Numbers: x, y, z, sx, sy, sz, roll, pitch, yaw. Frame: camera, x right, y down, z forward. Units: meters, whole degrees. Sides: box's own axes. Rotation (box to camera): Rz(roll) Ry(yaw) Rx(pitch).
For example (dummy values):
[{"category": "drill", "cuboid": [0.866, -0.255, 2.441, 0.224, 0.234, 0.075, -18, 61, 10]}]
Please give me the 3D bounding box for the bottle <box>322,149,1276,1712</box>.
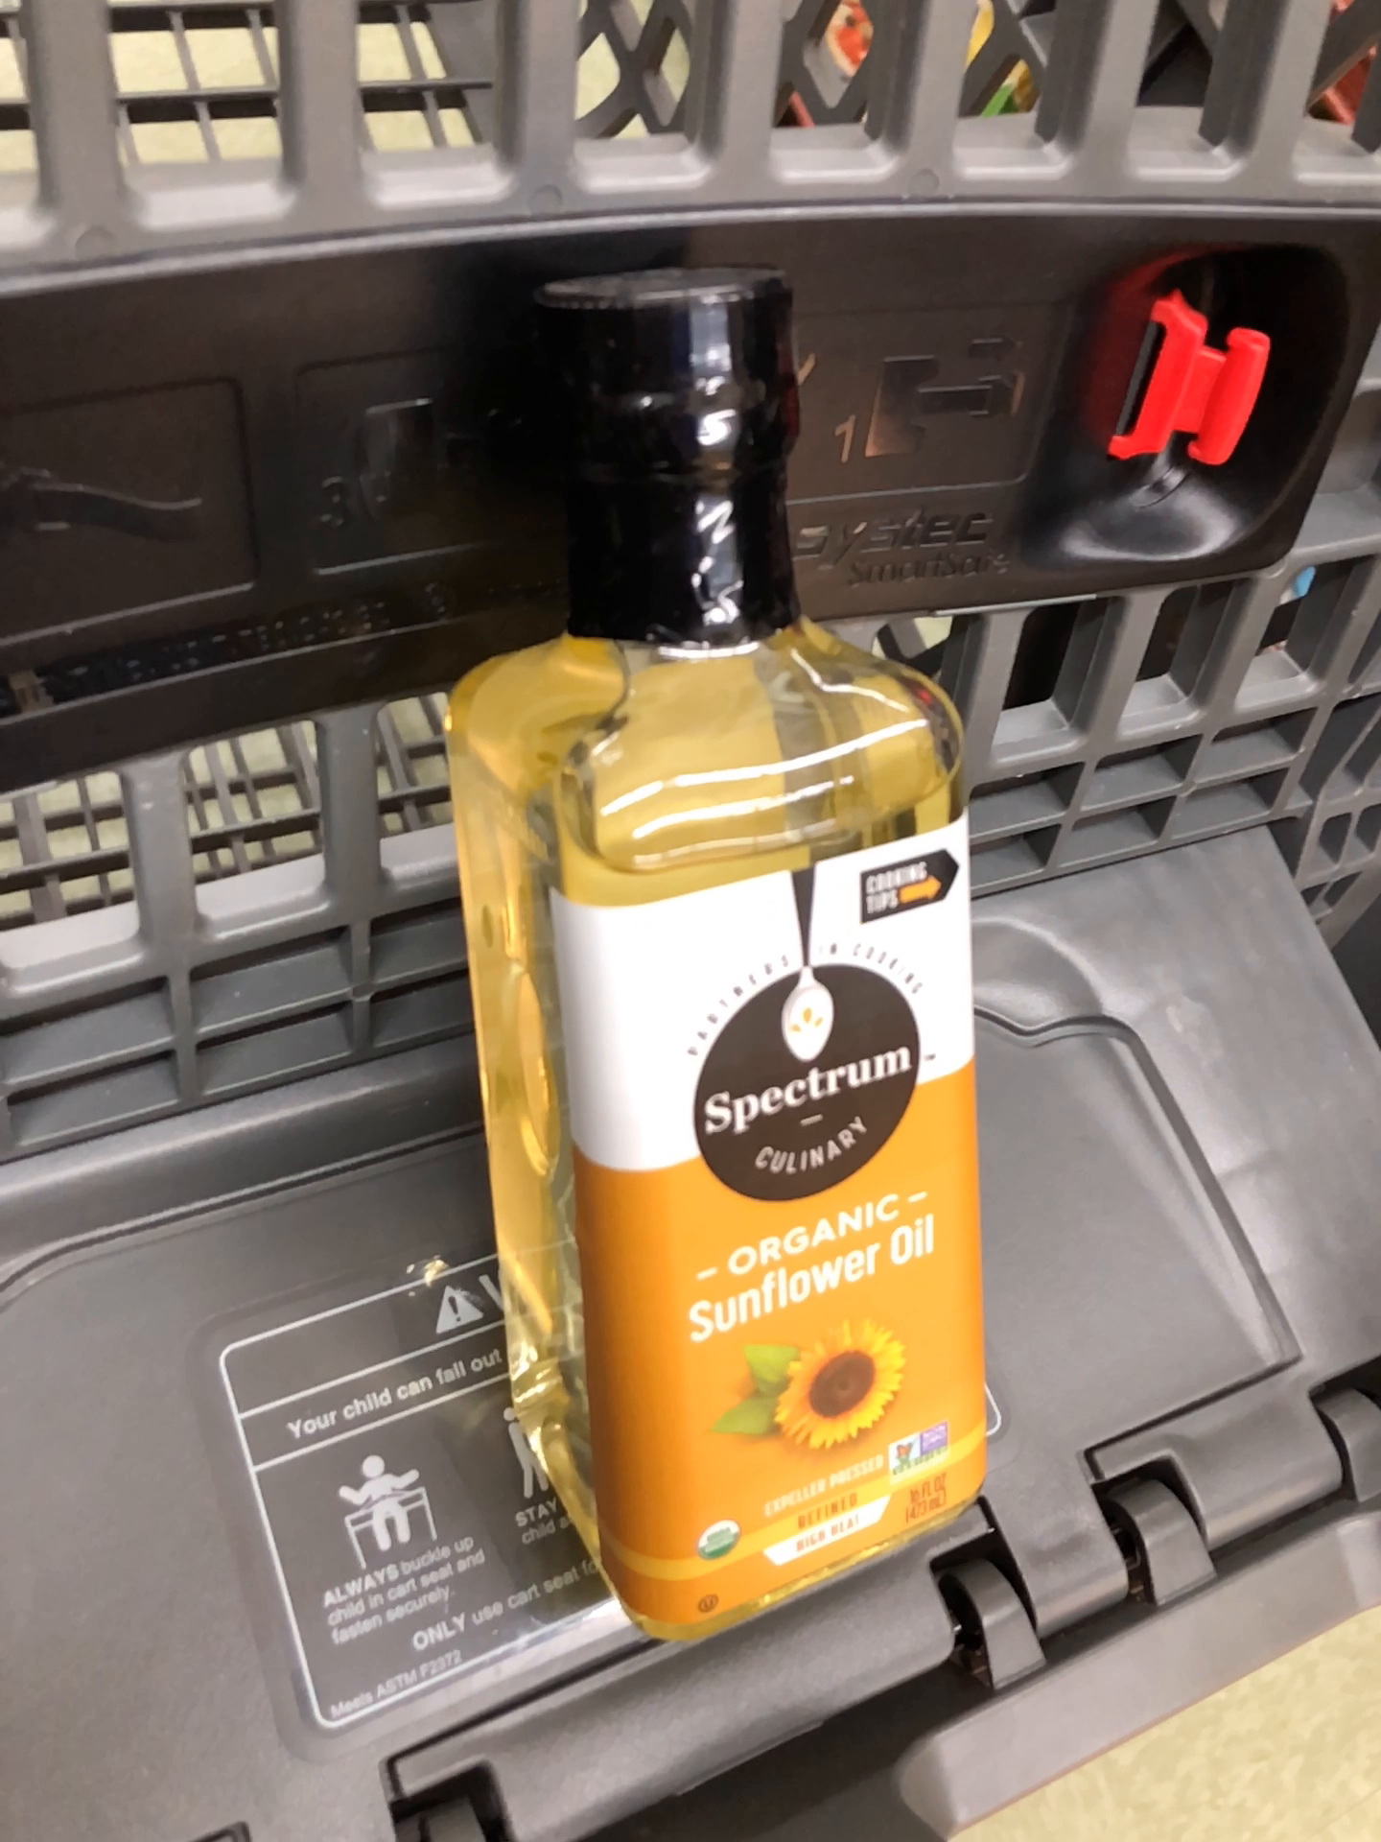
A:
[{"category": "bottle", "cuboid": [0.011, 0.006, 0.218, 0.080, 0.200, 0.070, -16, 33, -22]}]
